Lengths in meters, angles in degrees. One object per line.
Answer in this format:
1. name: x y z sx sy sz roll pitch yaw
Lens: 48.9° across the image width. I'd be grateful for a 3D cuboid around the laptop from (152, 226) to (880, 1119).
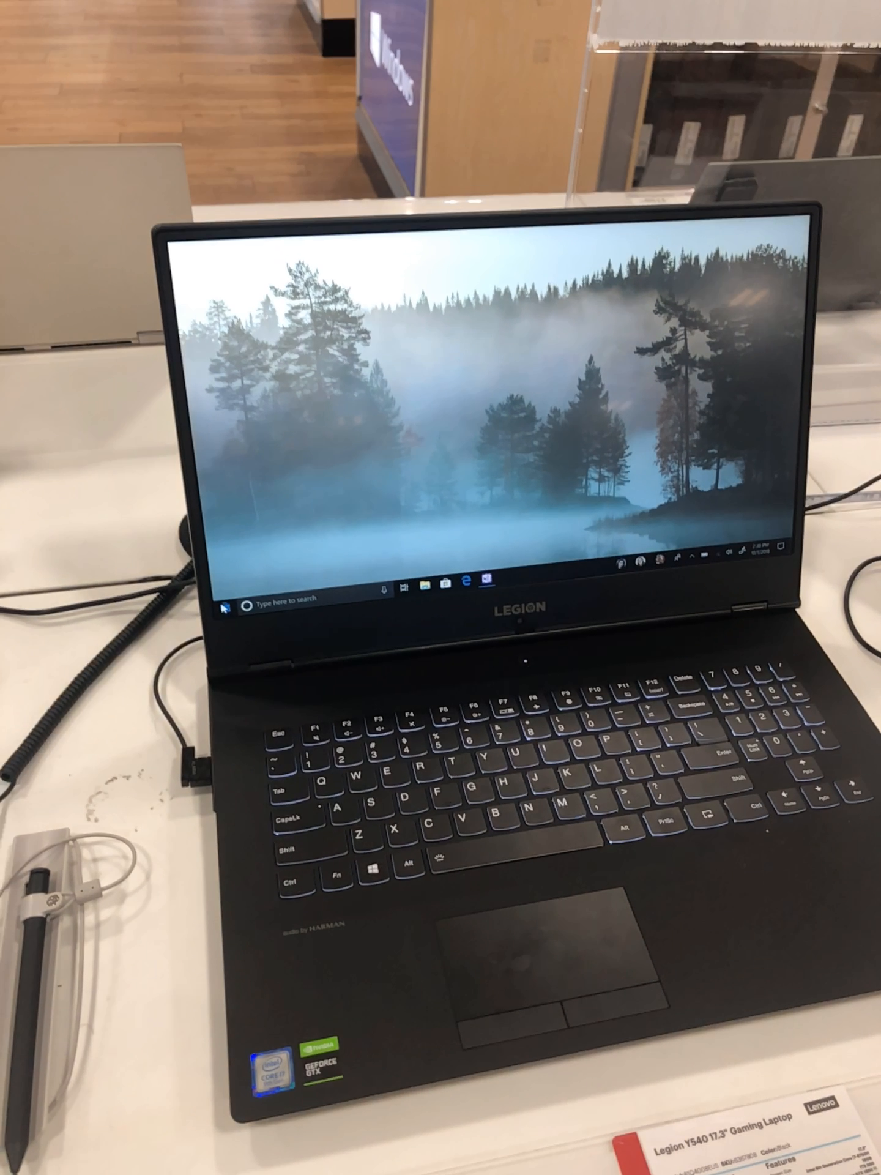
1. laptop: 0.070 0.001 0.500 0.382 0.241 0.359 -6 41 -12
